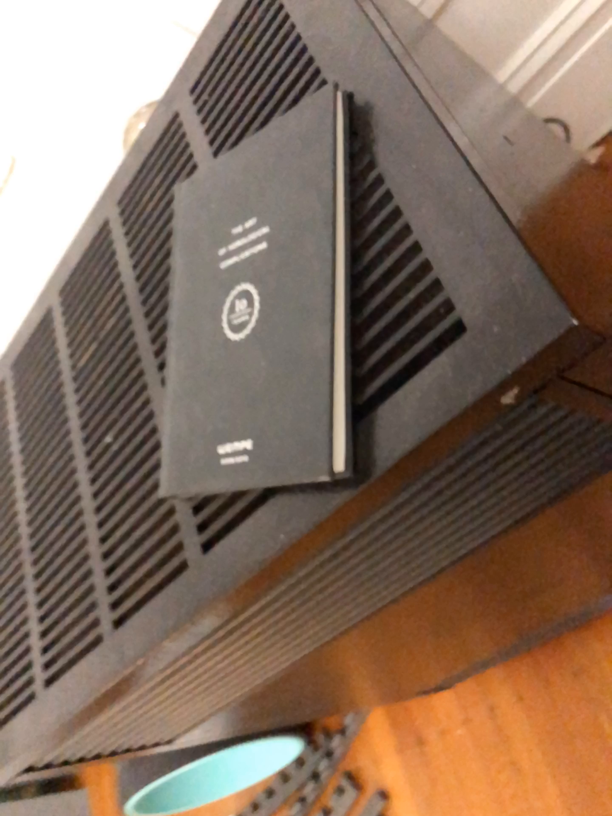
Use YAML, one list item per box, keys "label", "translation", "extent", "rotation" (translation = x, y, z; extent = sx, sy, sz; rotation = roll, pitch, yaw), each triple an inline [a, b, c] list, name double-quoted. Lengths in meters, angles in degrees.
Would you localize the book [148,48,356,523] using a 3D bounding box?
- label: "book"
  translation: [-0.036, -0.061, 0.411]
  extent: [0.160, 0.020, 0.250]
  rotation: [-13, 70, 46]
